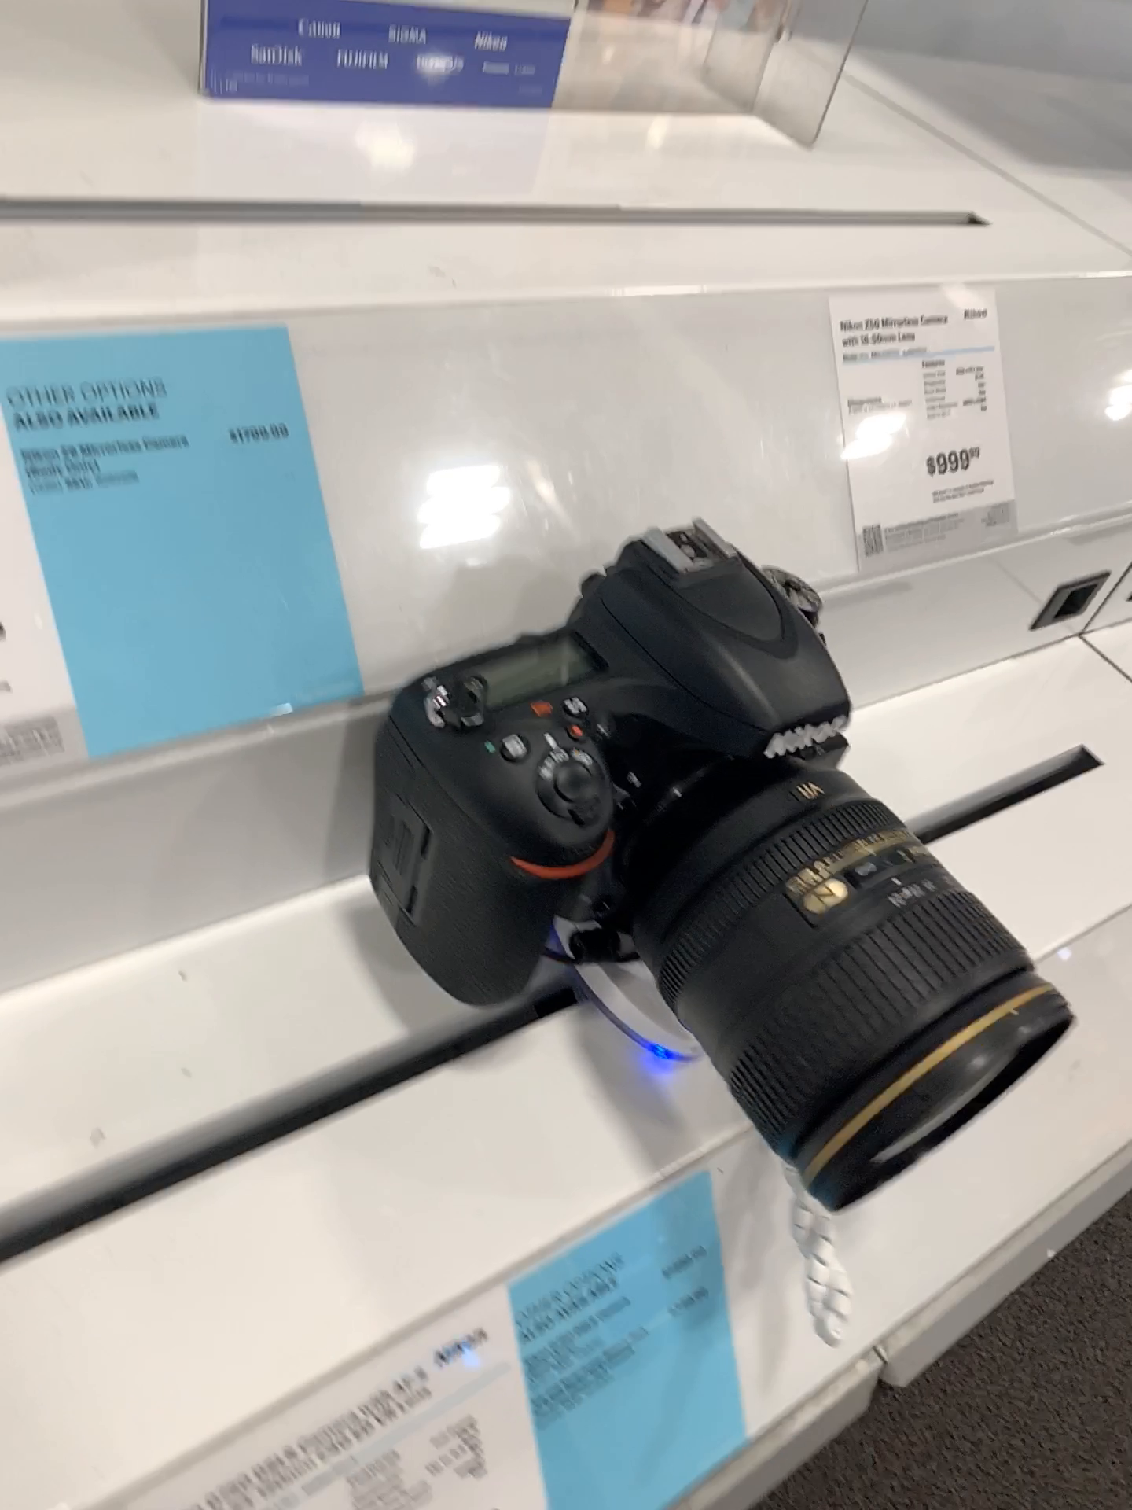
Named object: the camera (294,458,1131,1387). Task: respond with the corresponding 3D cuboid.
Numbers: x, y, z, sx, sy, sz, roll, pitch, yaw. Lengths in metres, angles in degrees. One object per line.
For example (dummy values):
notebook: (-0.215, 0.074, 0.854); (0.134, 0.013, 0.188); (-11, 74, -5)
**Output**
camera: (0.038, 0.028, 0.315); (0.140, 0.111, 0.180); (-22, 57, -35)
